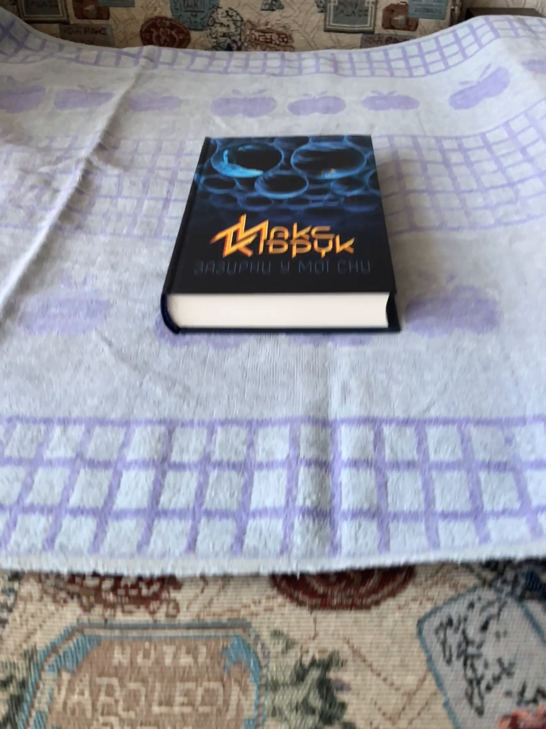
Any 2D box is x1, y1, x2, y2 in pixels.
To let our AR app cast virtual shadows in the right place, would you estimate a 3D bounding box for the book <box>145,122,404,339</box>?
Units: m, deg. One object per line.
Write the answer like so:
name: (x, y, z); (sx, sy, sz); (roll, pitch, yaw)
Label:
book: (0.006, -0.105, 0.416); (0.140, 0.035, 0.222); (1, 44, 4)
